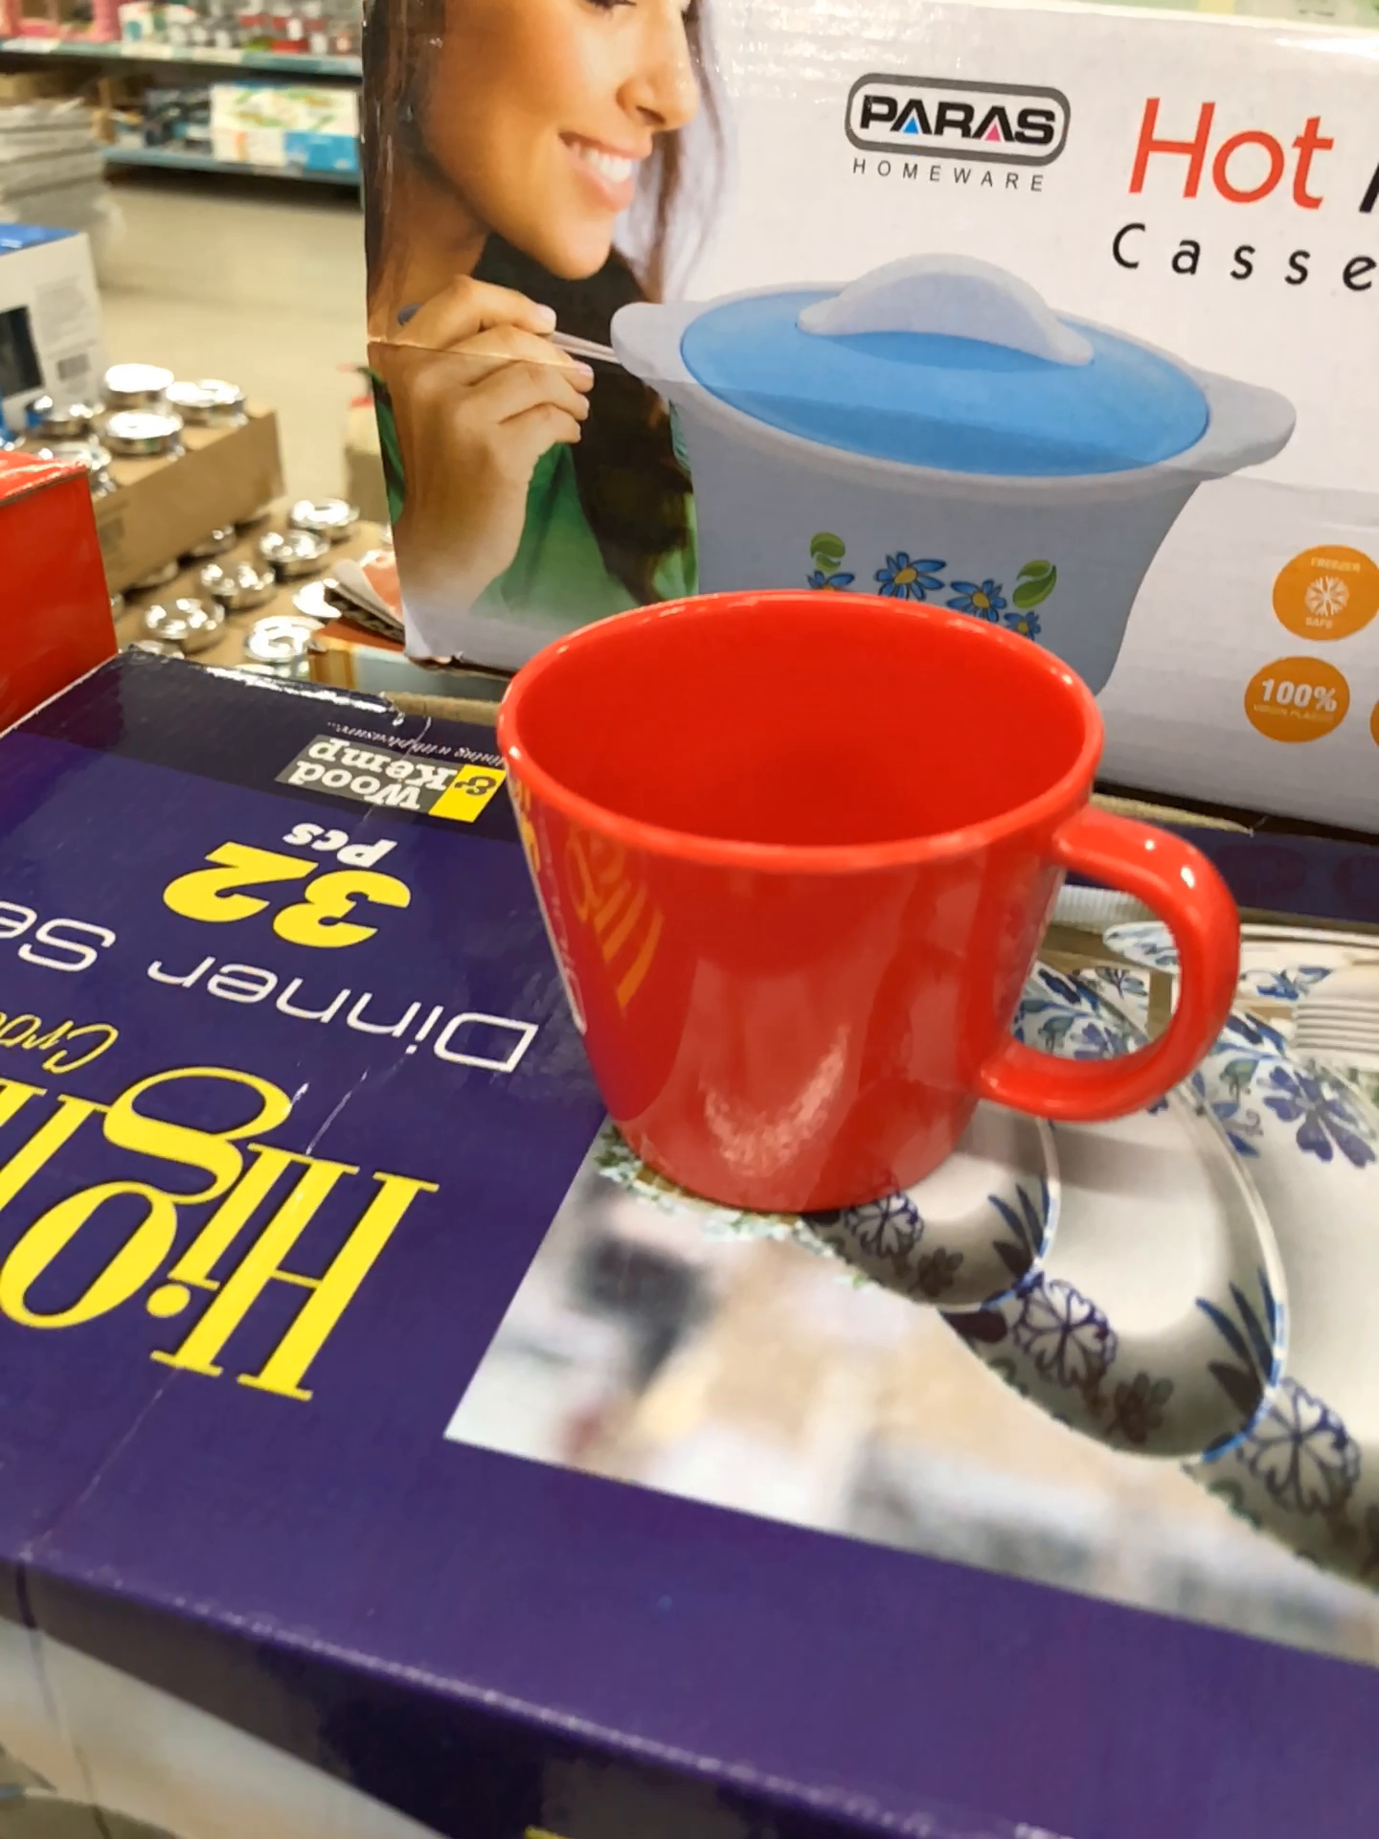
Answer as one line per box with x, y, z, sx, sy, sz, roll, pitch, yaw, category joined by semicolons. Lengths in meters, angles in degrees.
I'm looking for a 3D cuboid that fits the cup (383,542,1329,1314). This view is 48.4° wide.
0.025;-0.006;0.205;0.100;0.050;0.081;11;35;13;cup
